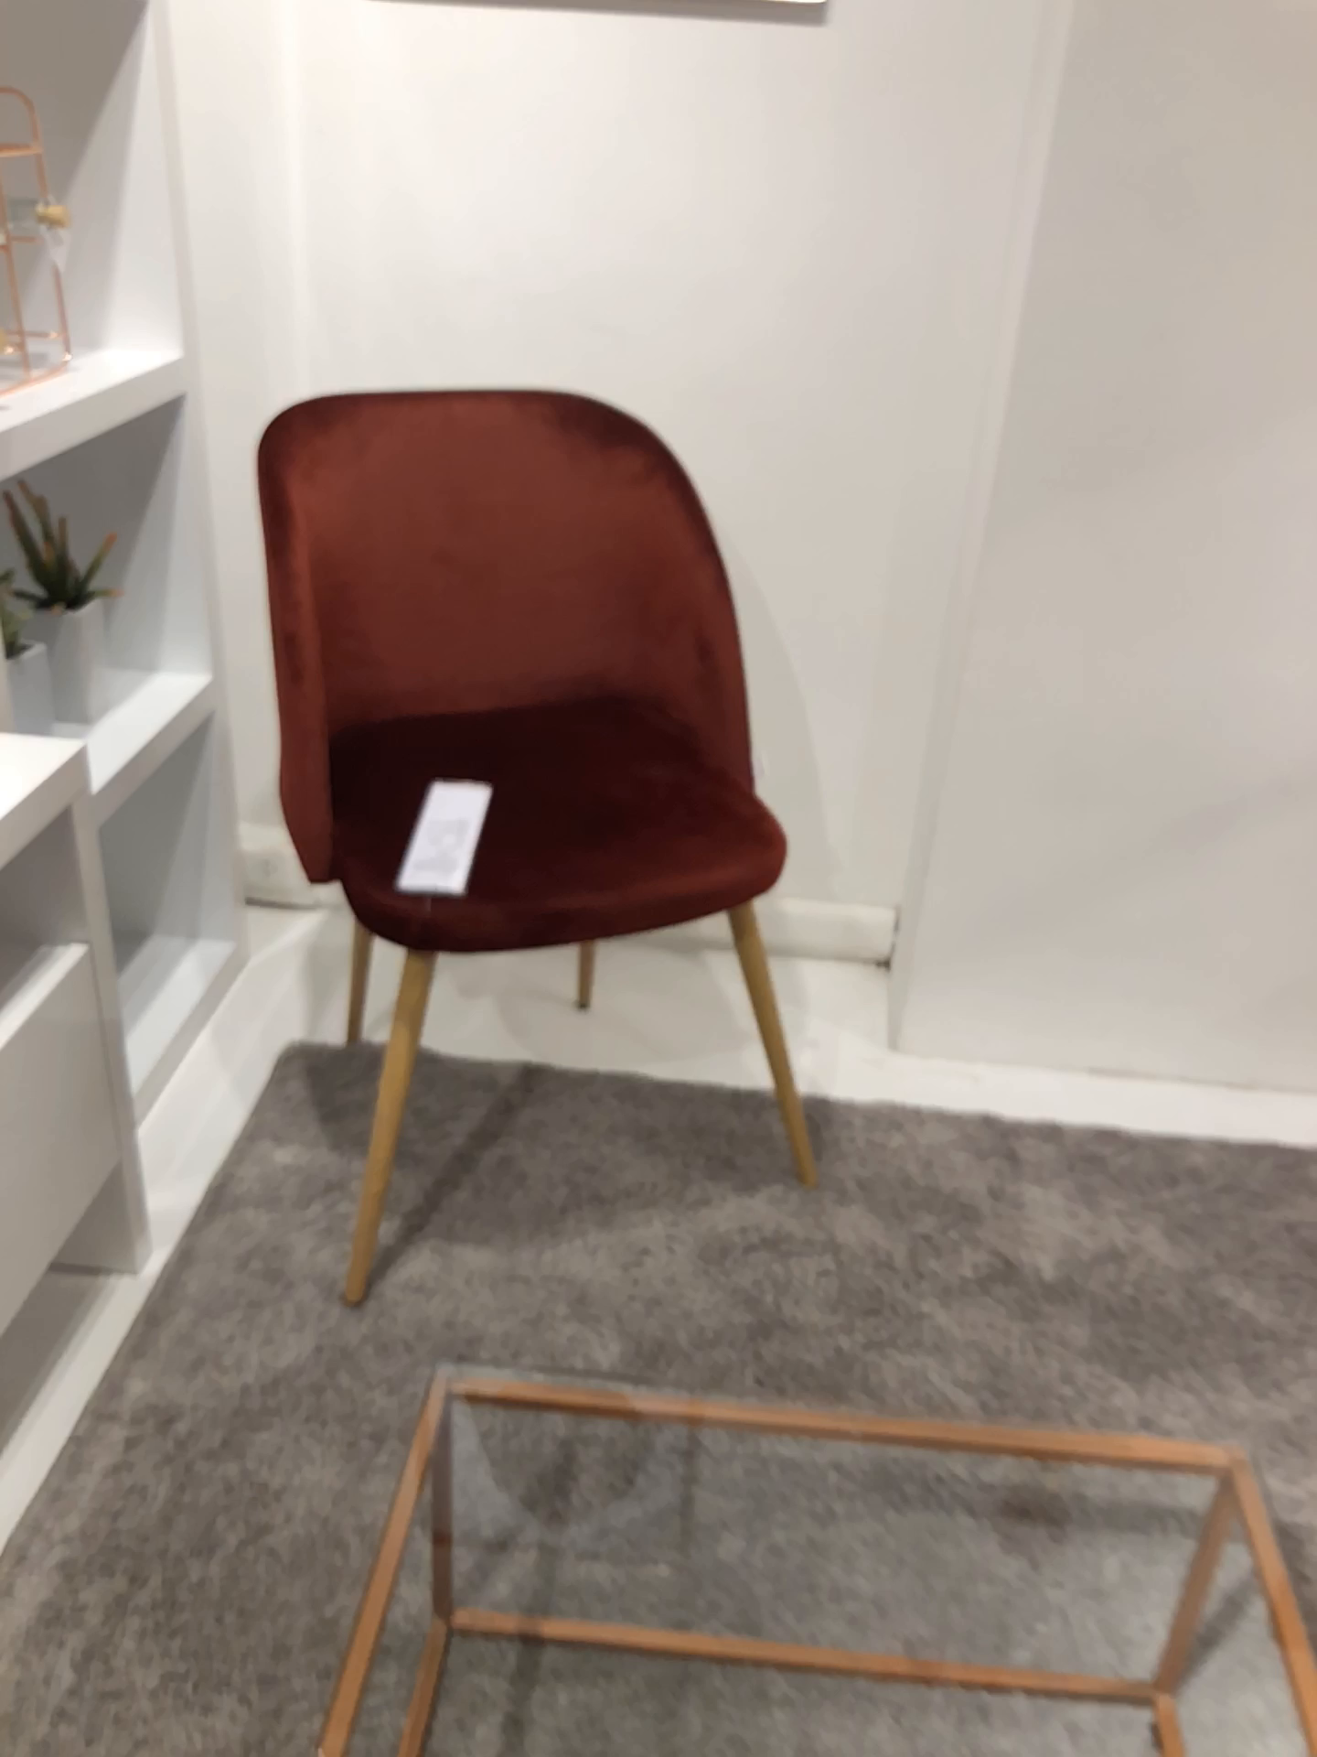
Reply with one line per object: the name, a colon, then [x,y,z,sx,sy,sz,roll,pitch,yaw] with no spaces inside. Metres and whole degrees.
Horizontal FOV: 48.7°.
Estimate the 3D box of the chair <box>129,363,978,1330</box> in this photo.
chair: [-0.161,-0.104,1.552,0.591,0.734,0.654,-11,31,-27]
